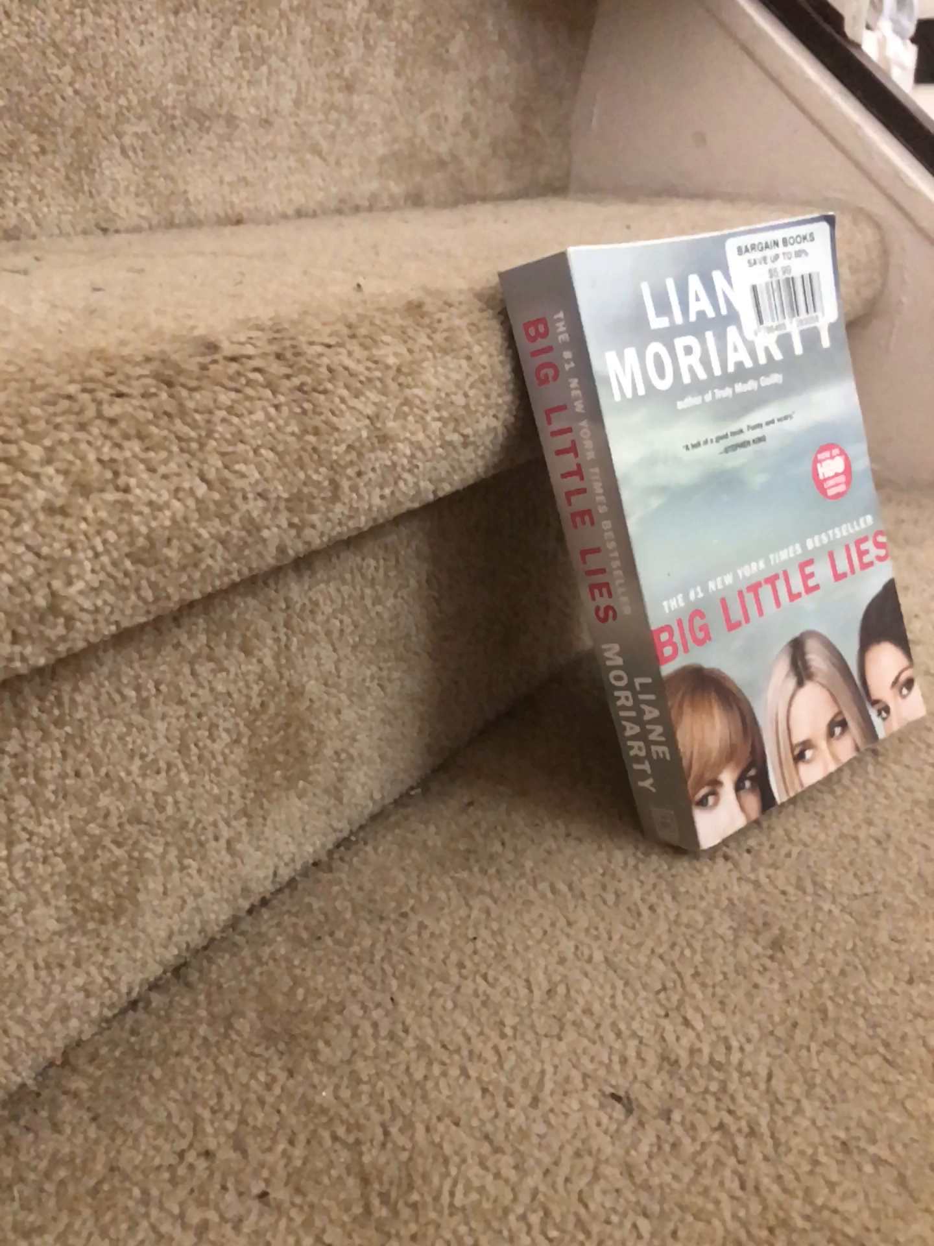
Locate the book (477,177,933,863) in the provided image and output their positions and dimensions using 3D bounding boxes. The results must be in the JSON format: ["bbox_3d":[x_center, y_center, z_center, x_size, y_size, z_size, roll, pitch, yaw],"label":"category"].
[{"bbox_3d":[0.102,-0.047,0.381,0.160,0.209,0.050,-21,12,-39],"label":"book"}]
